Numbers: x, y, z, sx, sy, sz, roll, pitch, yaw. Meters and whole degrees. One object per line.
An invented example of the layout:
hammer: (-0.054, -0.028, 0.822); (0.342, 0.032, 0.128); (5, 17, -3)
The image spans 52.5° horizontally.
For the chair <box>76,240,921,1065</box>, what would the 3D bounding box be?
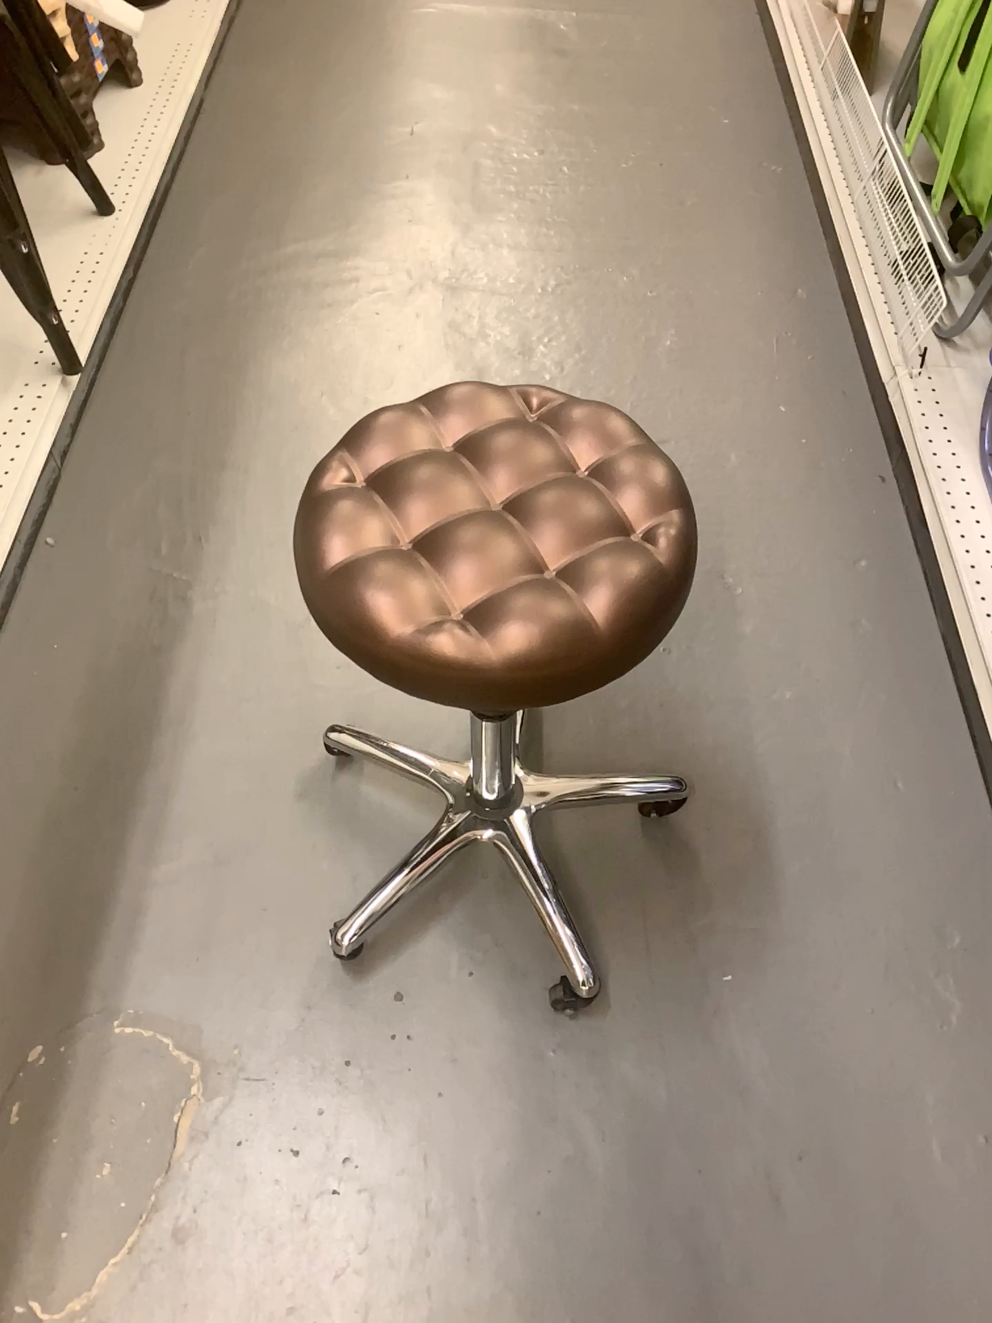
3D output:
chair: (0.021, 0.019, 0.975); (0.501, 0.575, 0.513); (6, 54, 3)
